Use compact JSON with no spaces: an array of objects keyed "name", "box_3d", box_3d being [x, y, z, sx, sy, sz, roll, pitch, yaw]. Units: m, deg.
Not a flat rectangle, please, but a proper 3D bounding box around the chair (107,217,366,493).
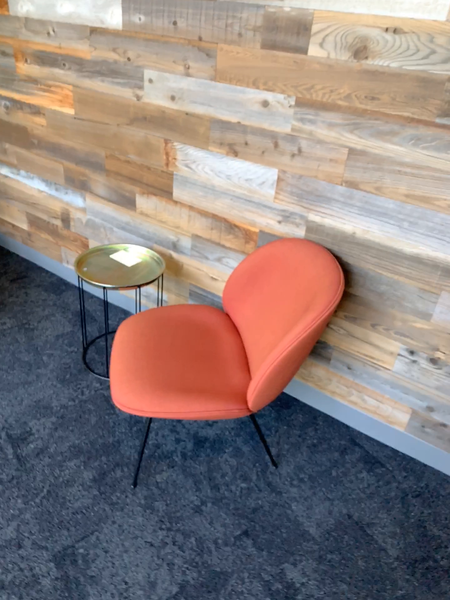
[{"name":"chair","box_3d":[-0.031,0.167,1.667,0.710,0.756,0.574,-2,32,-11]}]
